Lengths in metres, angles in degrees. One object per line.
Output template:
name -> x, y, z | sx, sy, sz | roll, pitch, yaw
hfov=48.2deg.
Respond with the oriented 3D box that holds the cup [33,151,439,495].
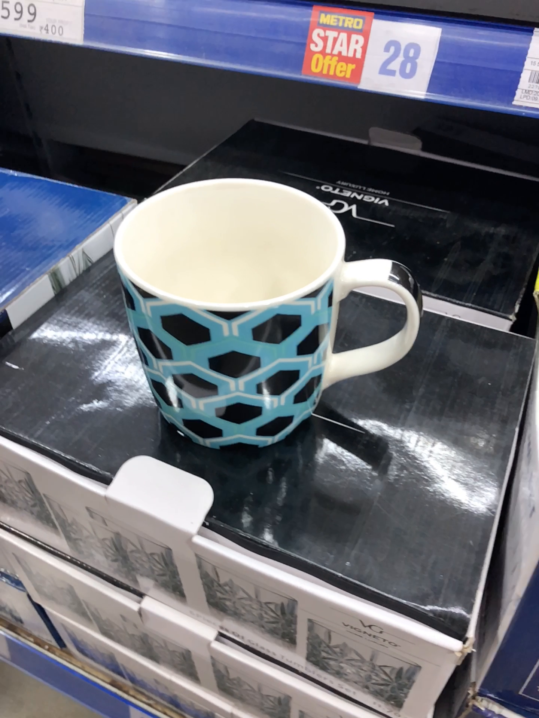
cup -> -0.005, -0.018, 0.252 | 0.130, 0.090, 0.090 | 9, 44, 10
